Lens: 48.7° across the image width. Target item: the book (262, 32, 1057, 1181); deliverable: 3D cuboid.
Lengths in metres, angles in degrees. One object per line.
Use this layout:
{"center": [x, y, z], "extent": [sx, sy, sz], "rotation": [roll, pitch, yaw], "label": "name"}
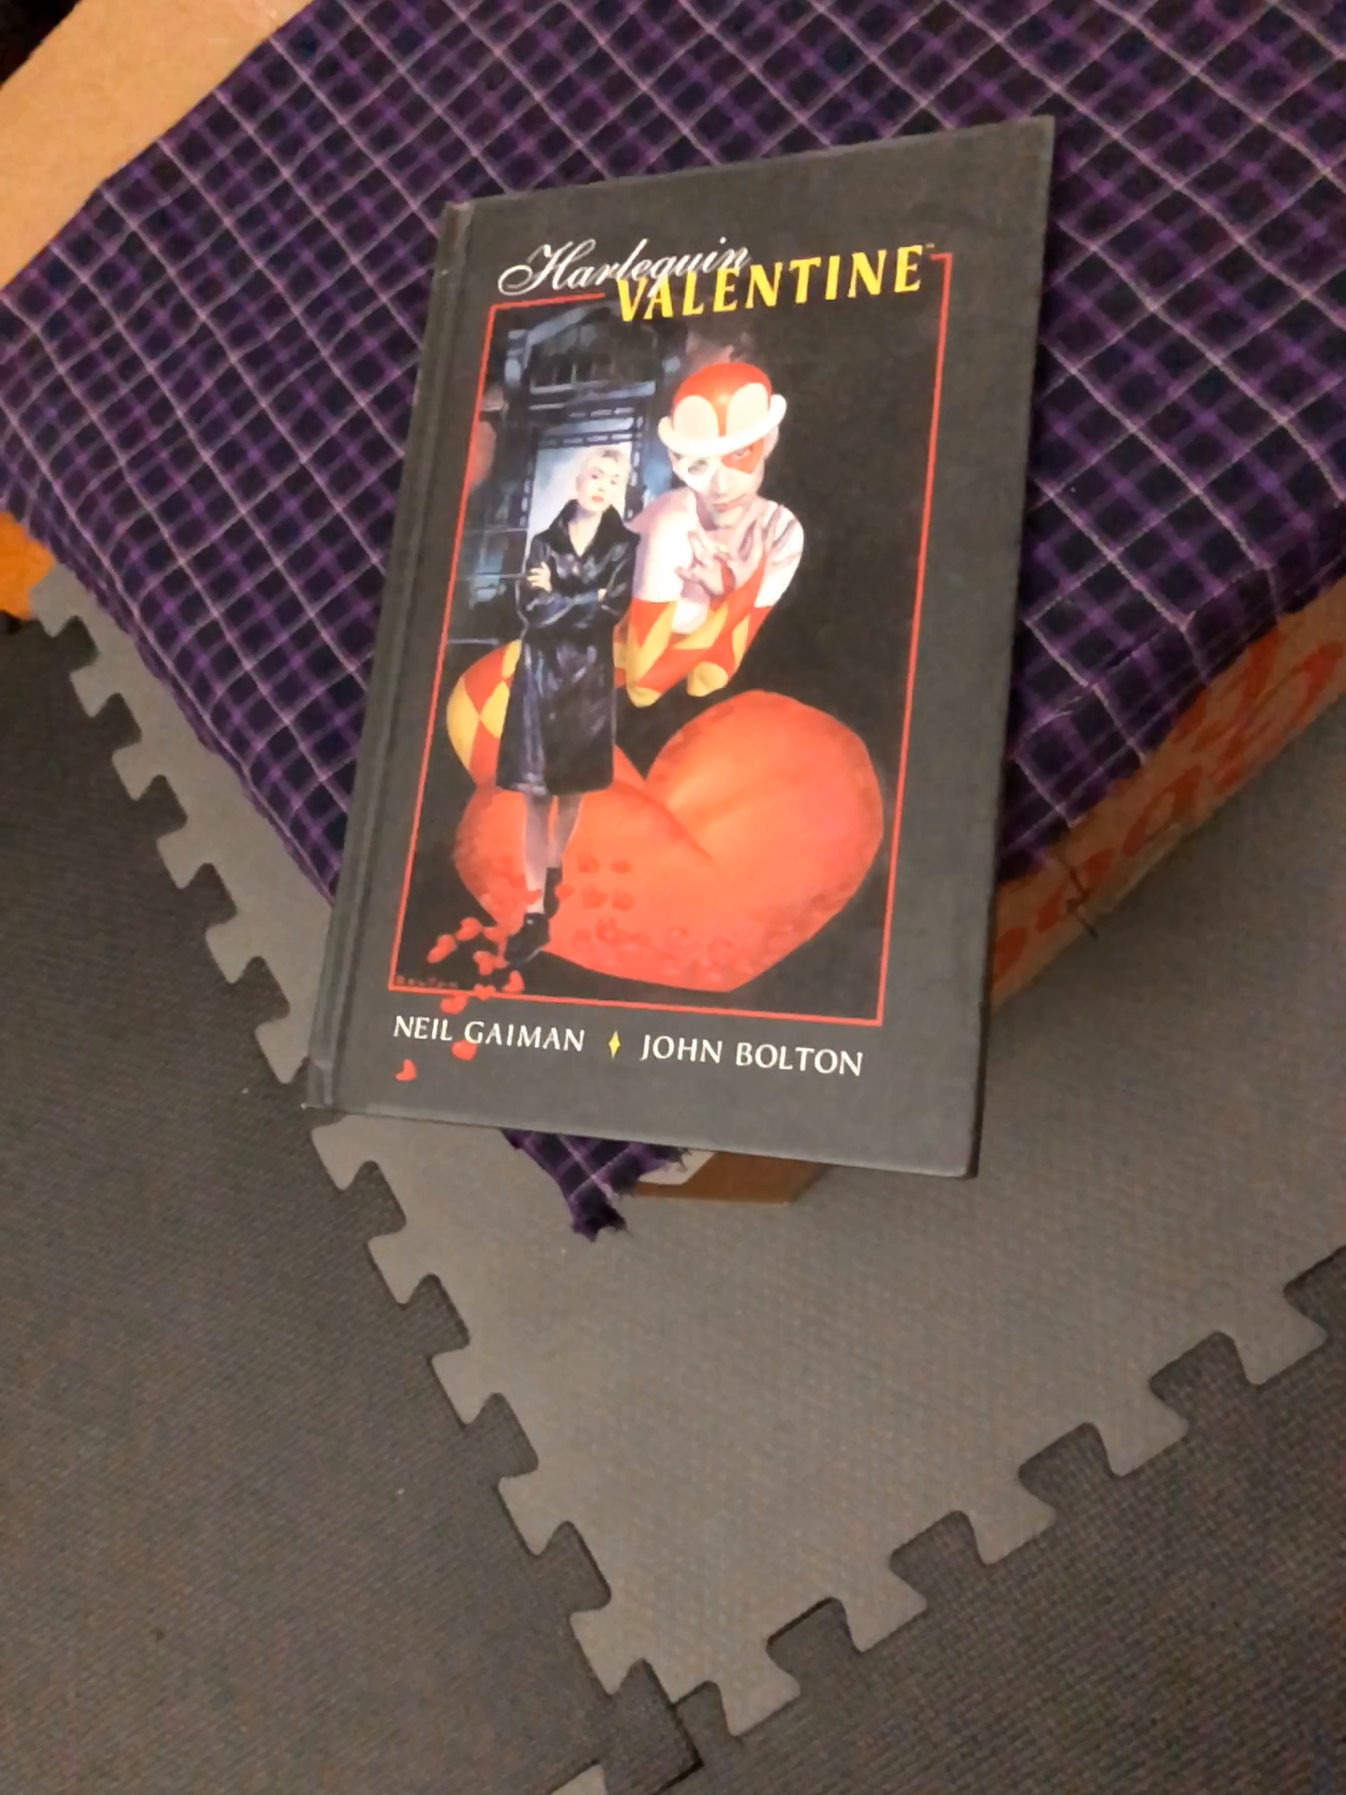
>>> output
{"center": [-0.002, -0.078, 0.381], "extent": [0.180, 0.020, 0.280], "rotation": [2, 78, 21], "label": "book"}
